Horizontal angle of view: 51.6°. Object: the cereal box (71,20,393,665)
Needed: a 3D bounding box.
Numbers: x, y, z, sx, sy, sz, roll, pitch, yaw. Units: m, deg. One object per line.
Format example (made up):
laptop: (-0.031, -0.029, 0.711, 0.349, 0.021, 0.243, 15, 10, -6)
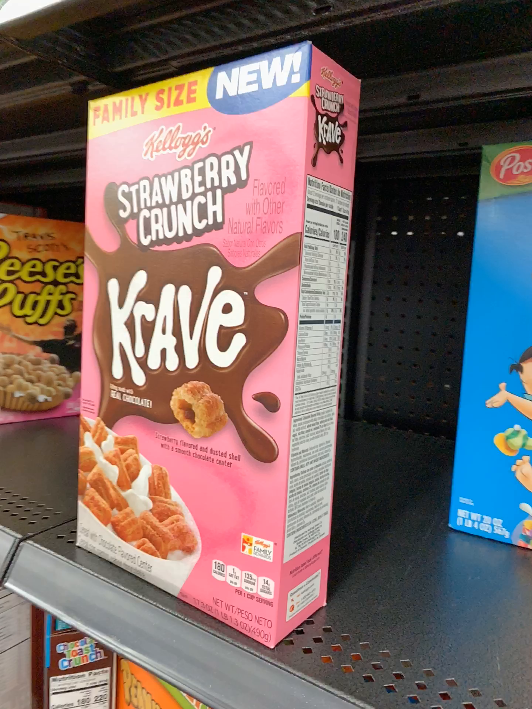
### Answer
cereal box: (-0.037, -0.011, 0.363, 0.200, 0.330, 0.060, 8, 7, 36)
